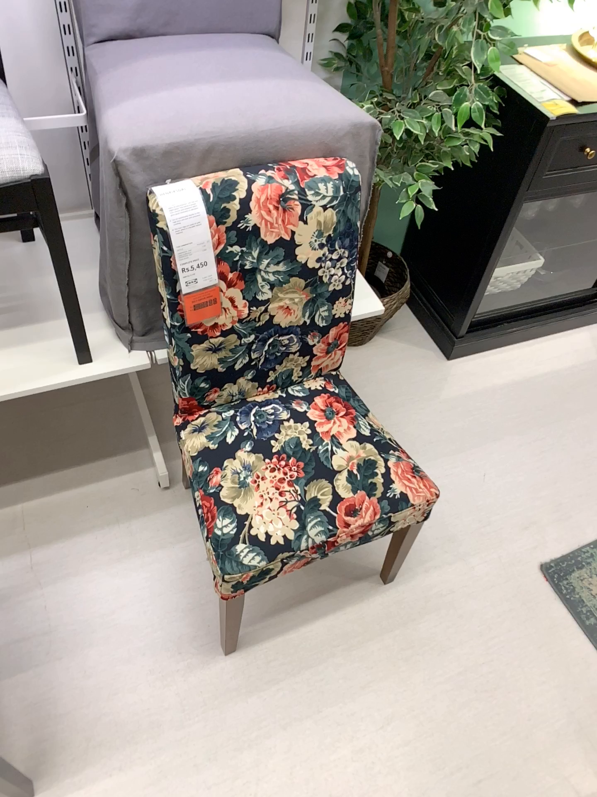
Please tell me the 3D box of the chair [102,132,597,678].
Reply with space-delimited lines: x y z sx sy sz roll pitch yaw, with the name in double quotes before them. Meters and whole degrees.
"chair" 0.001 0.049 1.263 0.560 0.887 0.602 -14 54 -19
